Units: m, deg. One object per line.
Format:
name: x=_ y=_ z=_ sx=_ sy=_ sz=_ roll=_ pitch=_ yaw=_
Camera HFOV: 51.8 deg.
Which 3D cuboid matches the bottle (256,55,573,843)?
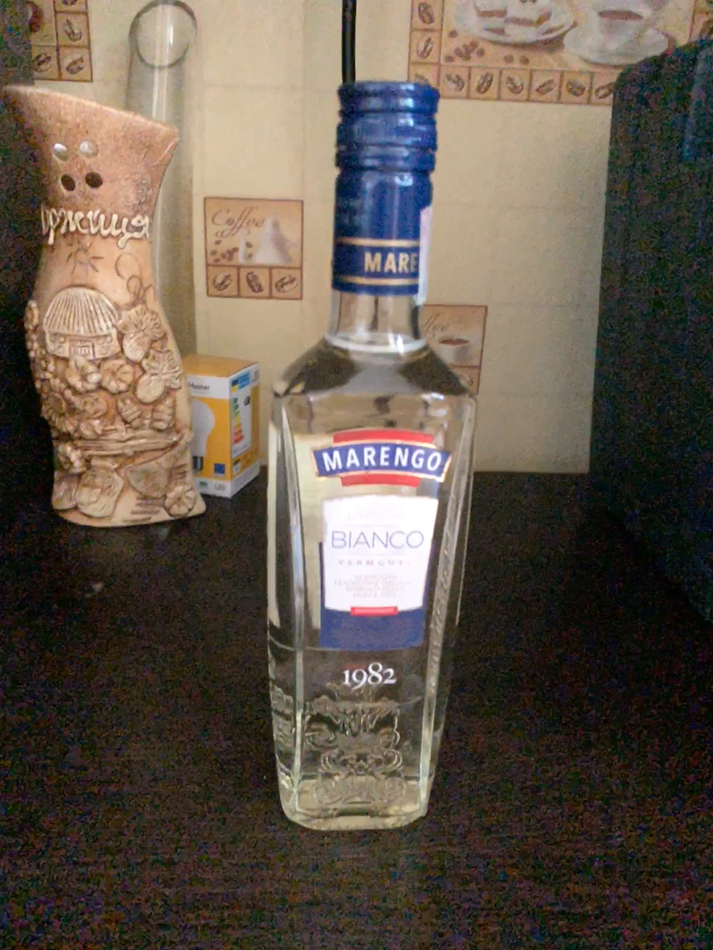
bottle: x=0.009 y=0.010 z=0.281 sx=0.090 sy=0.289 sz=0.050 roll=1 pitch=21 yaw=-4
